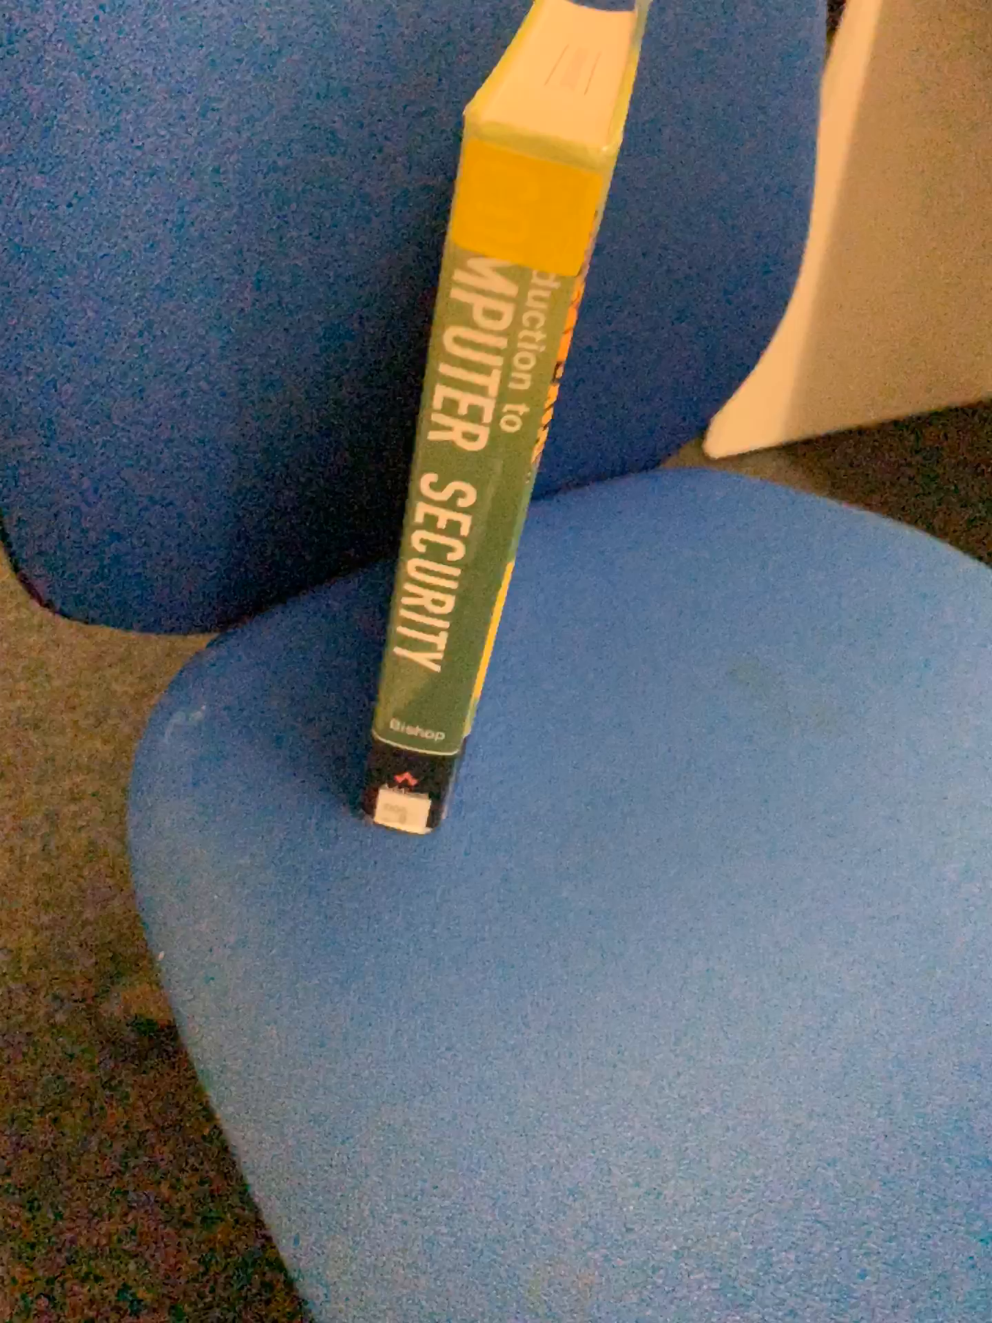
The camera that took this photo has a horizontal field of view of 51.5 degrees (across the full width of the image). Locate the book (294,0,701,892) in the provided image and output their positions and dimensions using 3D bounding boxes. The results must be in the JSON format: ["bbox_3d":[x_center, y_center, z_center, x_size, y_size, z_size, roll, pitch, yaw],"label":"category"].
[{"bbox_3d":[-0.004,-0.086,0.363,0.050,0.278,0.212,16,45,-1],"label":"book"}]
